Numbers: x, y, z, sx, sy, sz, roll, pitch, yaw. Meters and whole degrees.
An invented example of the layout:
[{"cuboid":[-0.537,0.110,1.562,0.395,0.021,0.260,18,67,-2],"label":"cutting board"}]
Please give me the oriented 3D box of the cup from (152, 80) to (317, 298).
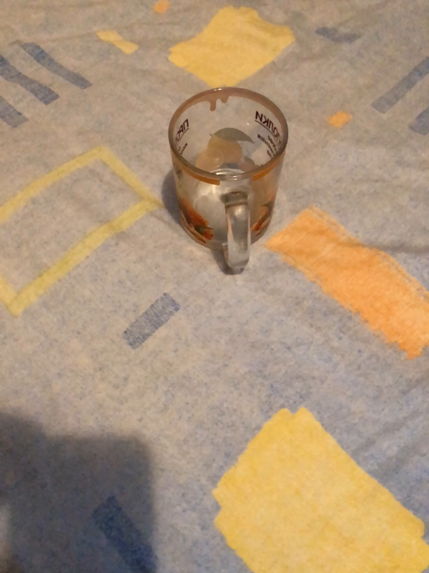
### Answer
[{"cuboid":[0.009,-0.068,0.345,0.084,0.092,0.110,-11,63,-5],"label":"cup"}]
